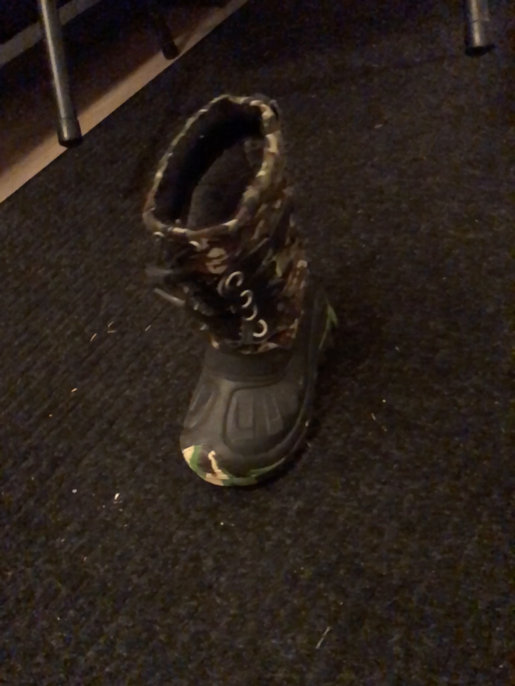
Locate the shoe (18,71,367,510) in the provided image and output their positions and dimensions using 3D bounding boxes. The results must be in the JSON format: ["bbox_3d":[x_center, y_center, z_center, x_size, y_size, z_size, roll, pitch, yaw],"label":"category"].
[{"bbox_3d":[-0.012,-0.033,0.397,0.100,0.209,0.201,10,54,26],"label":"shoe"}]
